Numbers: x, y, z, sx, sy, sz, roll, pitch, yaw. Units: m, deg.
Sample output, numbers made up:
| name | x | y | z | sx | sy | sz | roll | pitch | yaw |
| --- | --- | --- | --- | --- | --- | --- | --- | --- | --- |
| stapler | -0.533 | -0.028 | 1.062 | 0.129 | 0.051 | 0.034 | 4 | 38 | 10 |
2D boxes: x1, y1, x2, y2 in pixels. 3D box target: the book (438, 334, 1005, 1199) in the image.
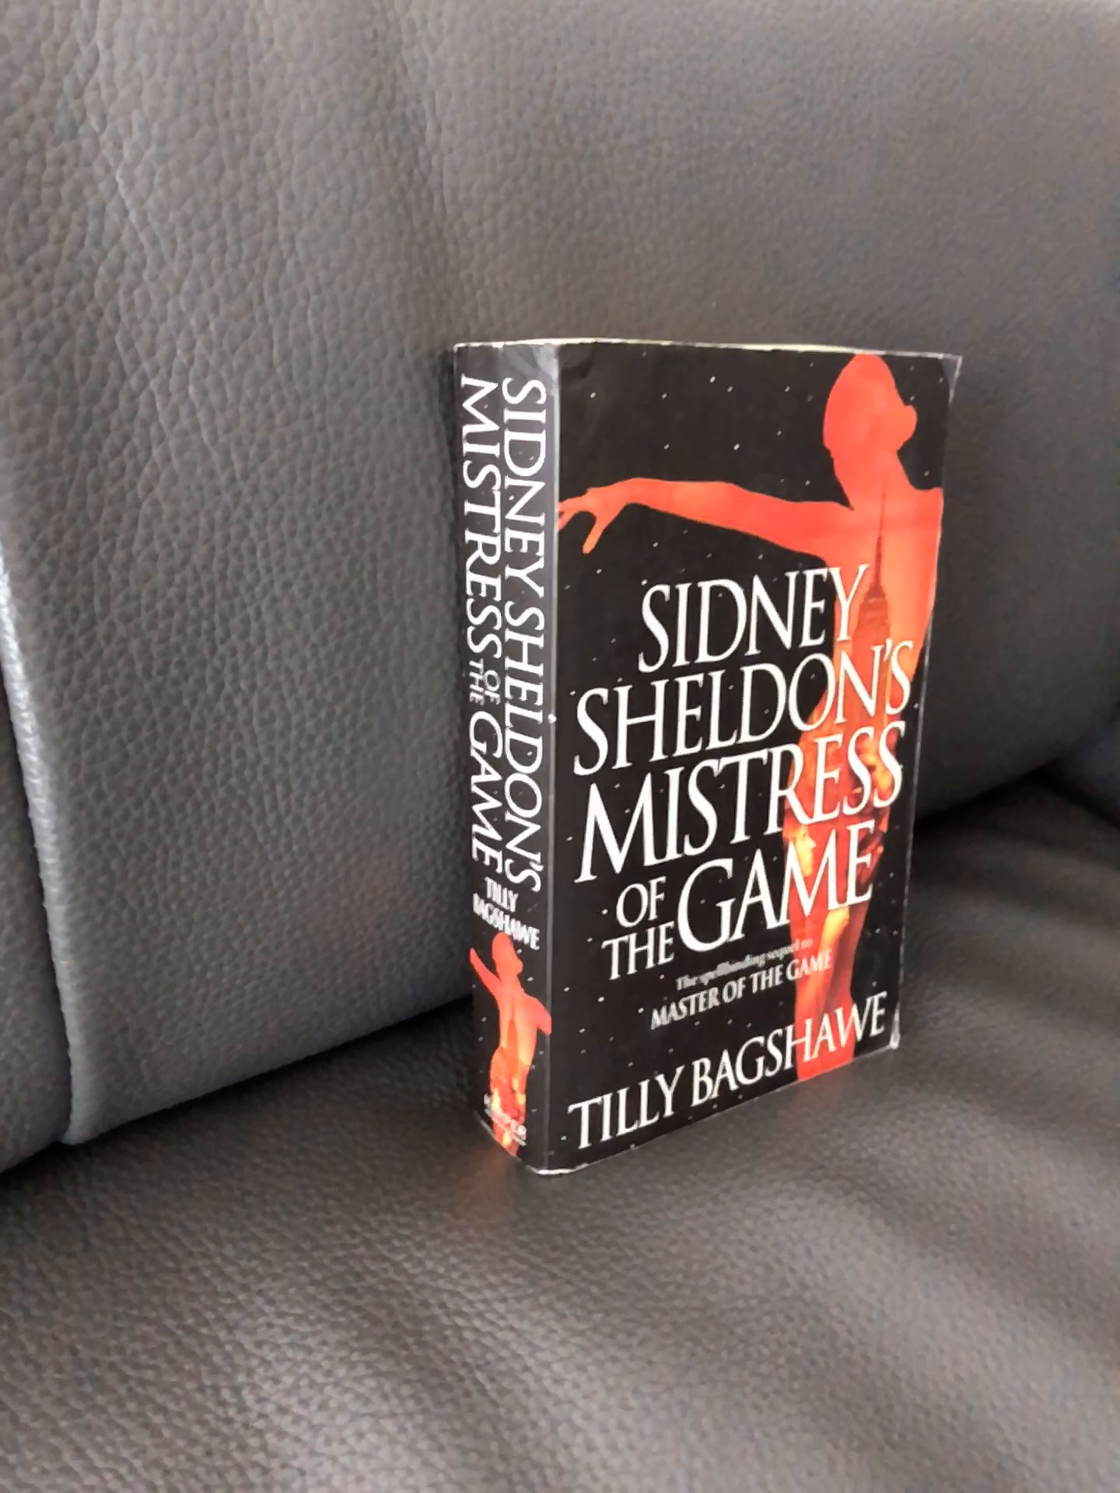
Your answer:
| name | x | y | z | sx | sy | sz | roll | pitch | yaw |
| --- | --- | --- | --- | --- | --- | --- | --- | --- | --- |
| book | 0.036 | -0.002 | 0.295 | 0.119 | 0.179 | 0.046 | -11 | 21 | -31 |
